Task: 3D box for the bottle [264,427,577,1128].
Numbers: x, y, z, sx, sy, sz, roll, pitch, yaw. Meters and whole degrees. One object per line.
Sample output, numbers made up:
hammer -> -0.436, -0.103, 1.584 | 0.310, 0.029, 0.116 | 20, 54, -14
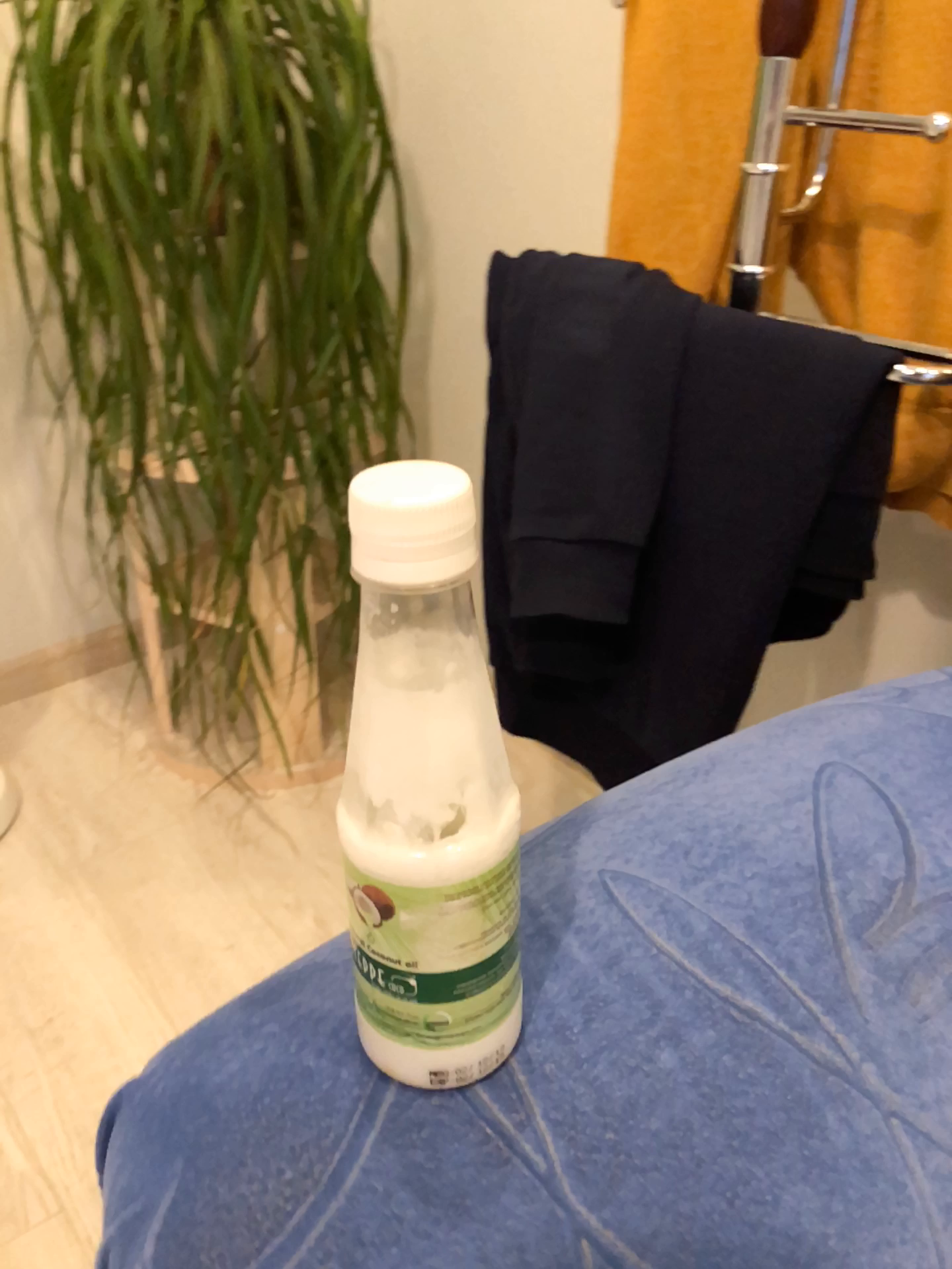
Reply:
bottle -> -0.012, 0.043, 0.290 | 0.050, 0.183, 0.054 | 0, 28, 0
